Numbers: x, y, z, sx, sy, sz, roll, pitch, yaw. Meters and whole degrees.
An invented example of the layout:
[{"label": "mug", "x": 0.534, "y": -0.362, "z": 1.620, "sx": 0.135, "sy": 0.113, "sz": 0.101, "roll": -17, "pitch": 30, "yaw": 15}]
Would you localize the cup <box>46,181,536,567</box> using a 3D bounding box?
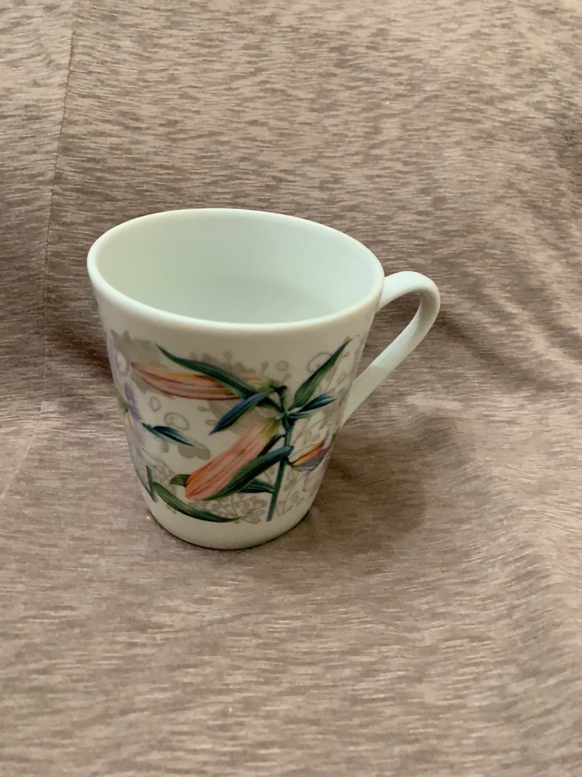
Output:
[{"label": "cup", "x": -0.005, "y": -0.011, "z": 0.204, "sx": 0.119, "sy": 0.088, "sz": 0.085, "roll": -5, "pitch": 35, "yaw": -10}]
